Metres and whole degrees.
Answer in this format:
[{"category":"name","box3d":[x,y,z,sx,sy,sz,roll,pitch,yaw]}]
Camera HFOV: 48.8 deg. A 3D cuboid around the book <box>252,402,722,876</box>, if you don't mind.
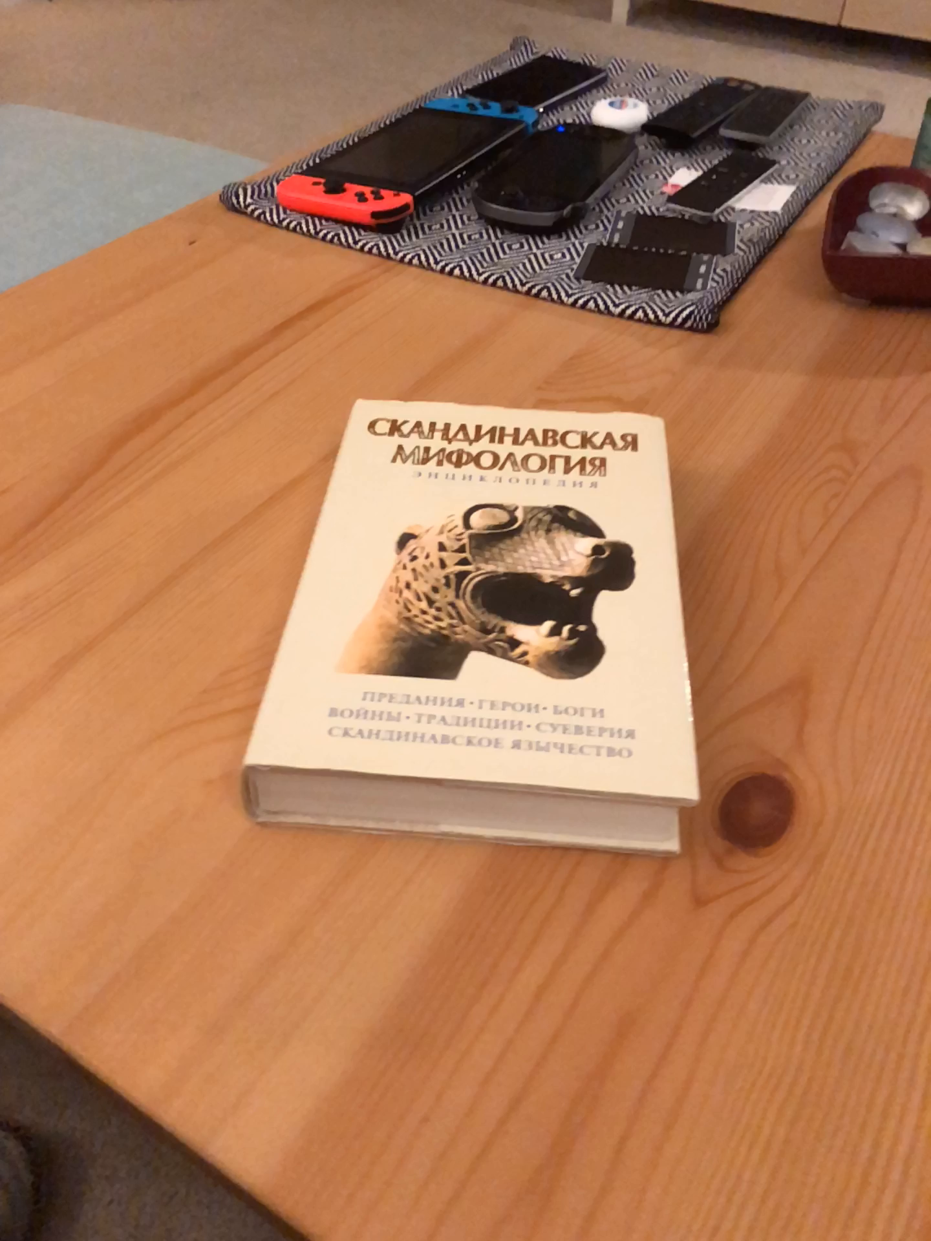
[{"category":"book","box3d":[0.016,-0.008,0.405,0.146,0.037,0.211,4,45,4]}]
